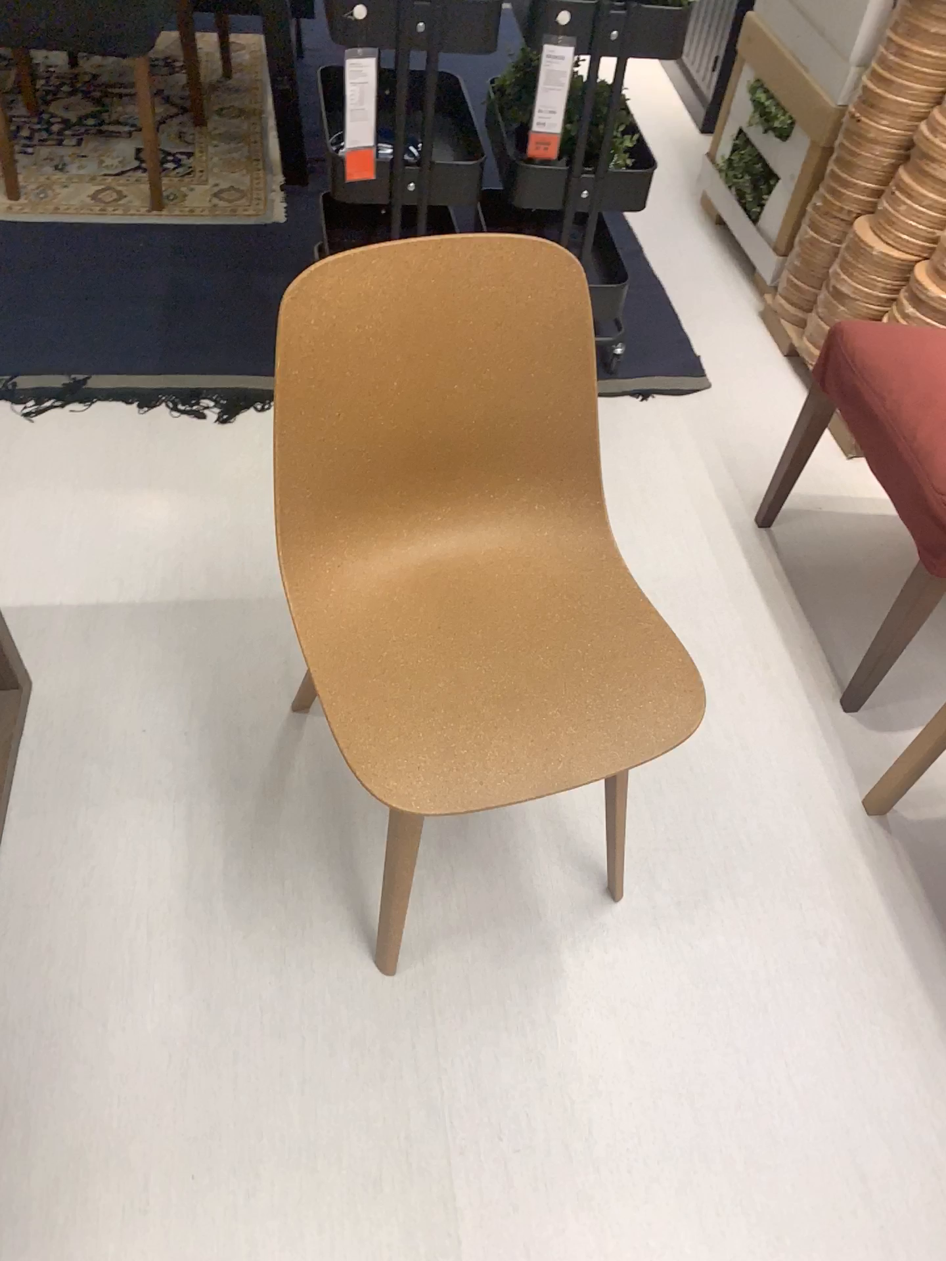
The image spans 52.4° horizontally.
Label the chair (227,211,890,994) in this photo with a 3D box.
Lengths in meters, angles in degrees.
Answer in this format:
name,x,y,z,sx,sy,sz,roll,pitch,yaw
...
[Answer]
name,x,y,z,sx,sy,sz,roll,pitch,yaw
chair,0.015,-0.009,1.155,0.440,0.718,0.521,-13,53,-17
